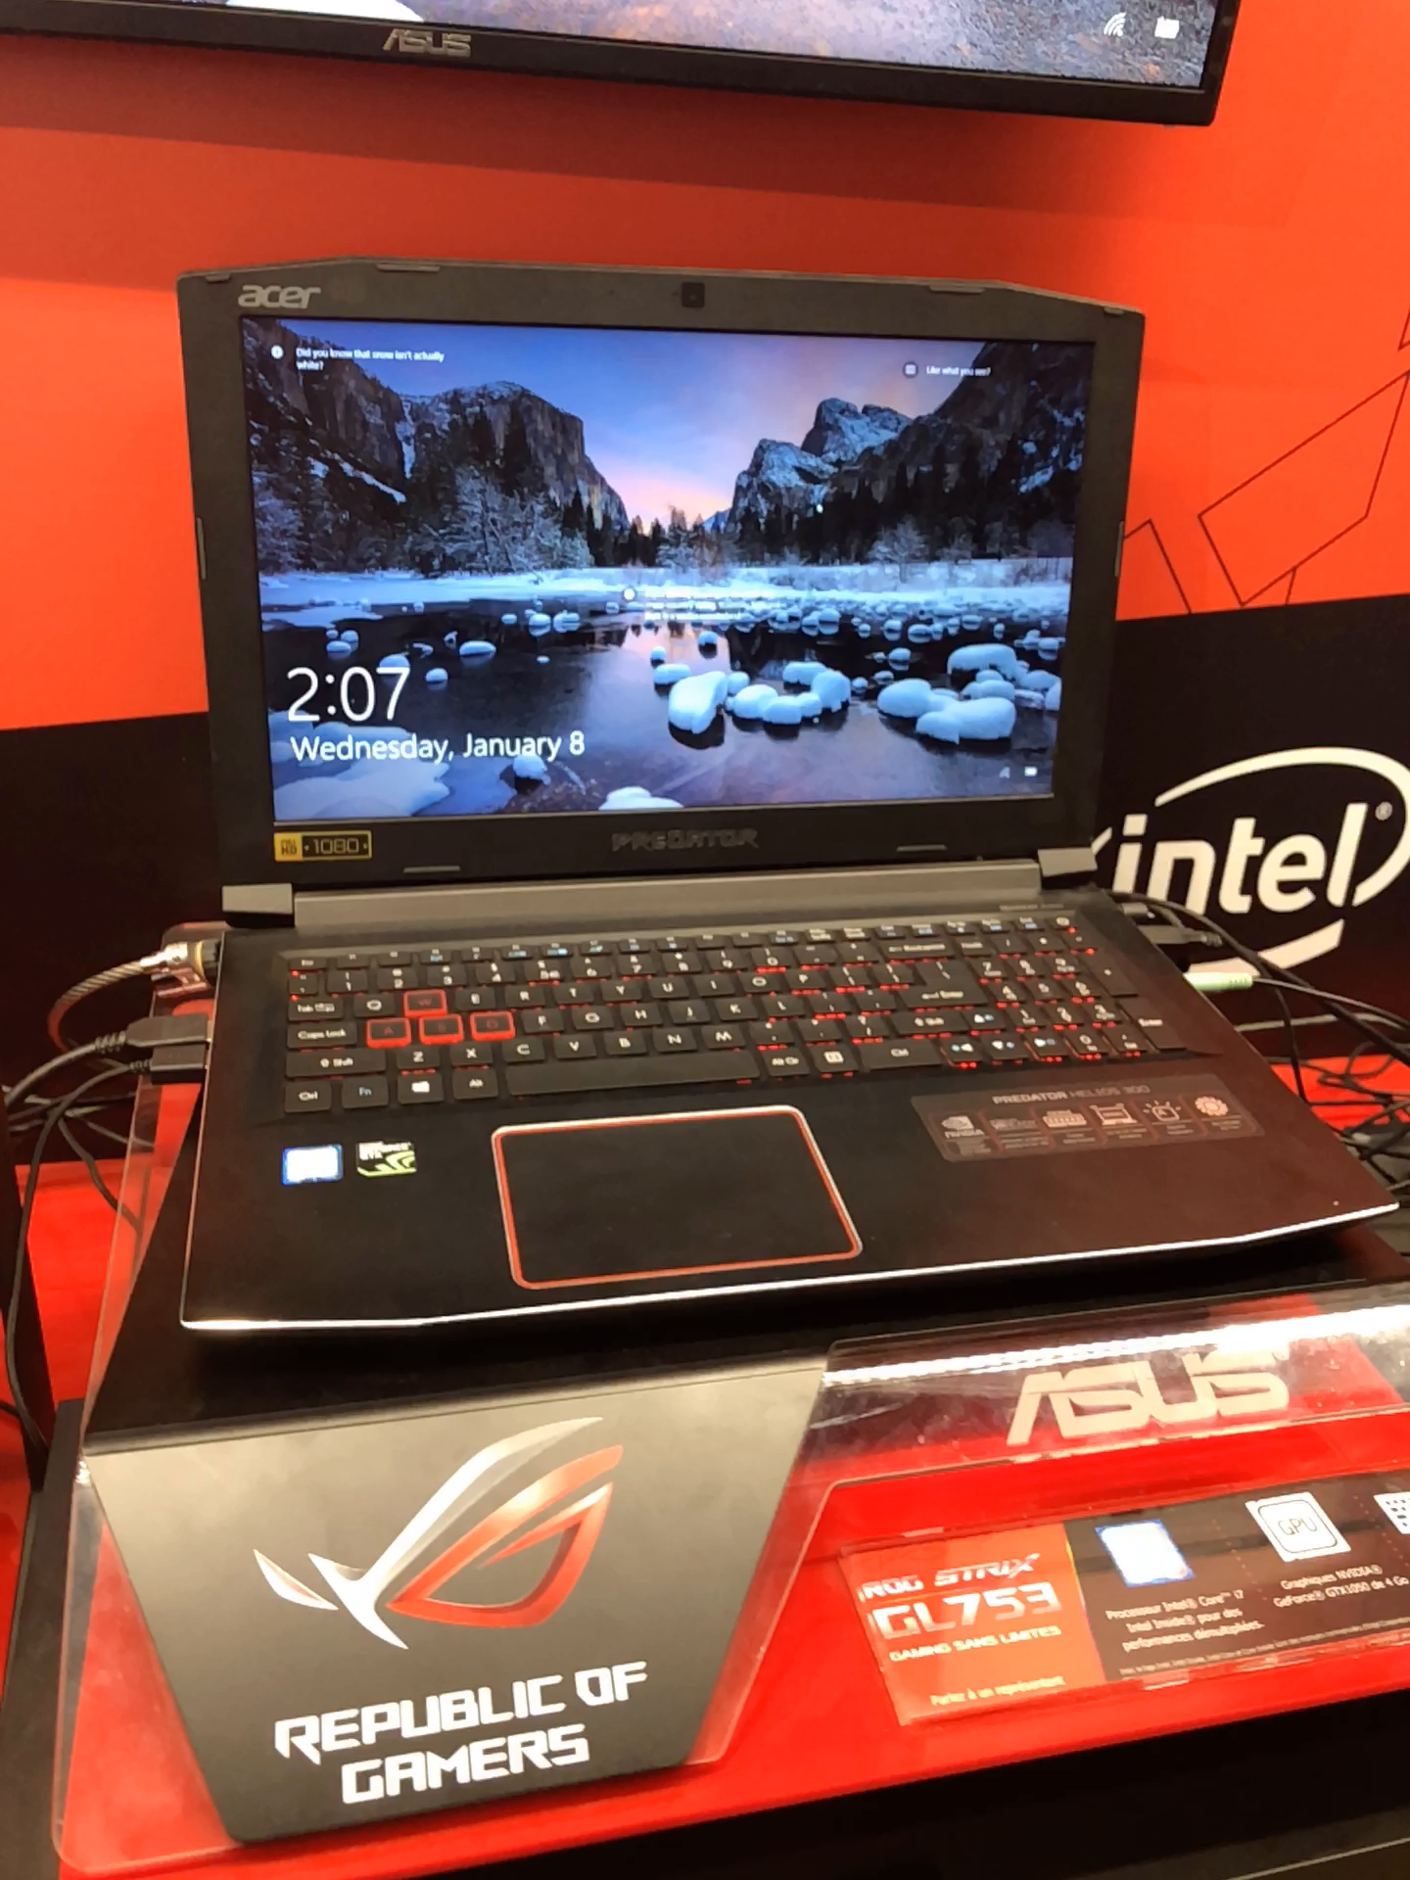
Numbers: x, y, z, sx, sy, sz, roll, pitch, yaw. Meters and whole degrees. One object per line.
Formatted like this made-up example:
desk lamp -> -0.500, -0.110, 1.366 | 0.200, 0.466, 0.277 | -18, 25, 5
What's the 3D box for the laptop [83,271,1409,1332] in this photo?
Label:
laptop -> 0.019, -0.080, 0.547 | 0.385, 0.240, 0.295 | -3, 28, -12
